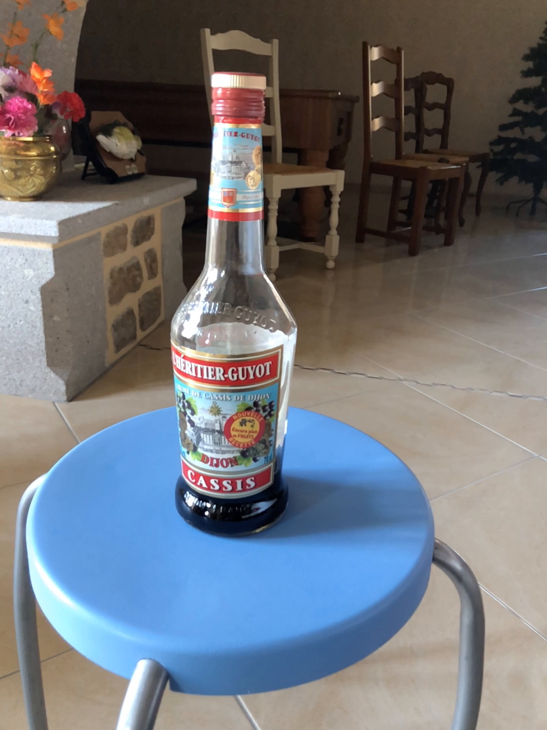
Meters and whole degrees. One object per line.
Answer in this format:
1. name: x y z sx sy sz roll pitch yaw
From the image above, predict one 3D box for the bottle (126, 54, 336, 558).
1. bottle: -0.026 -0.033 0.396 0.090 0.298 0.091 2 23 -1
